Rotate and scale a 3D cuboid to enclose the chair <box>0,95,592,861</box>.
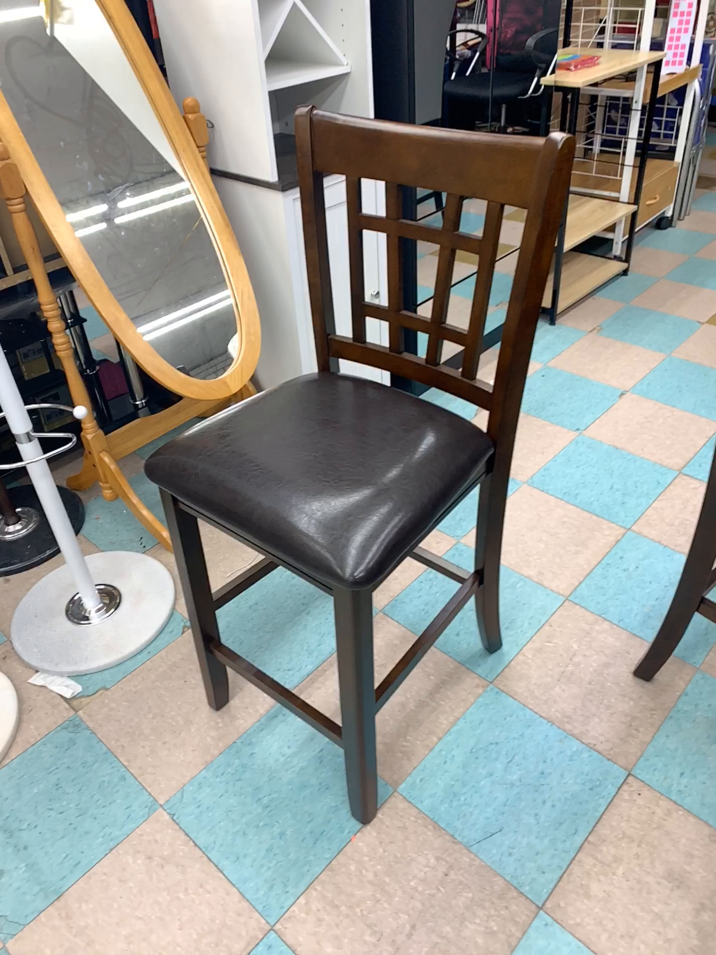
[{"bbox_3d":[-0.056,-0.003,1.026,0.469,0.849,0.482,25,47,33],"label":"chair"}]
